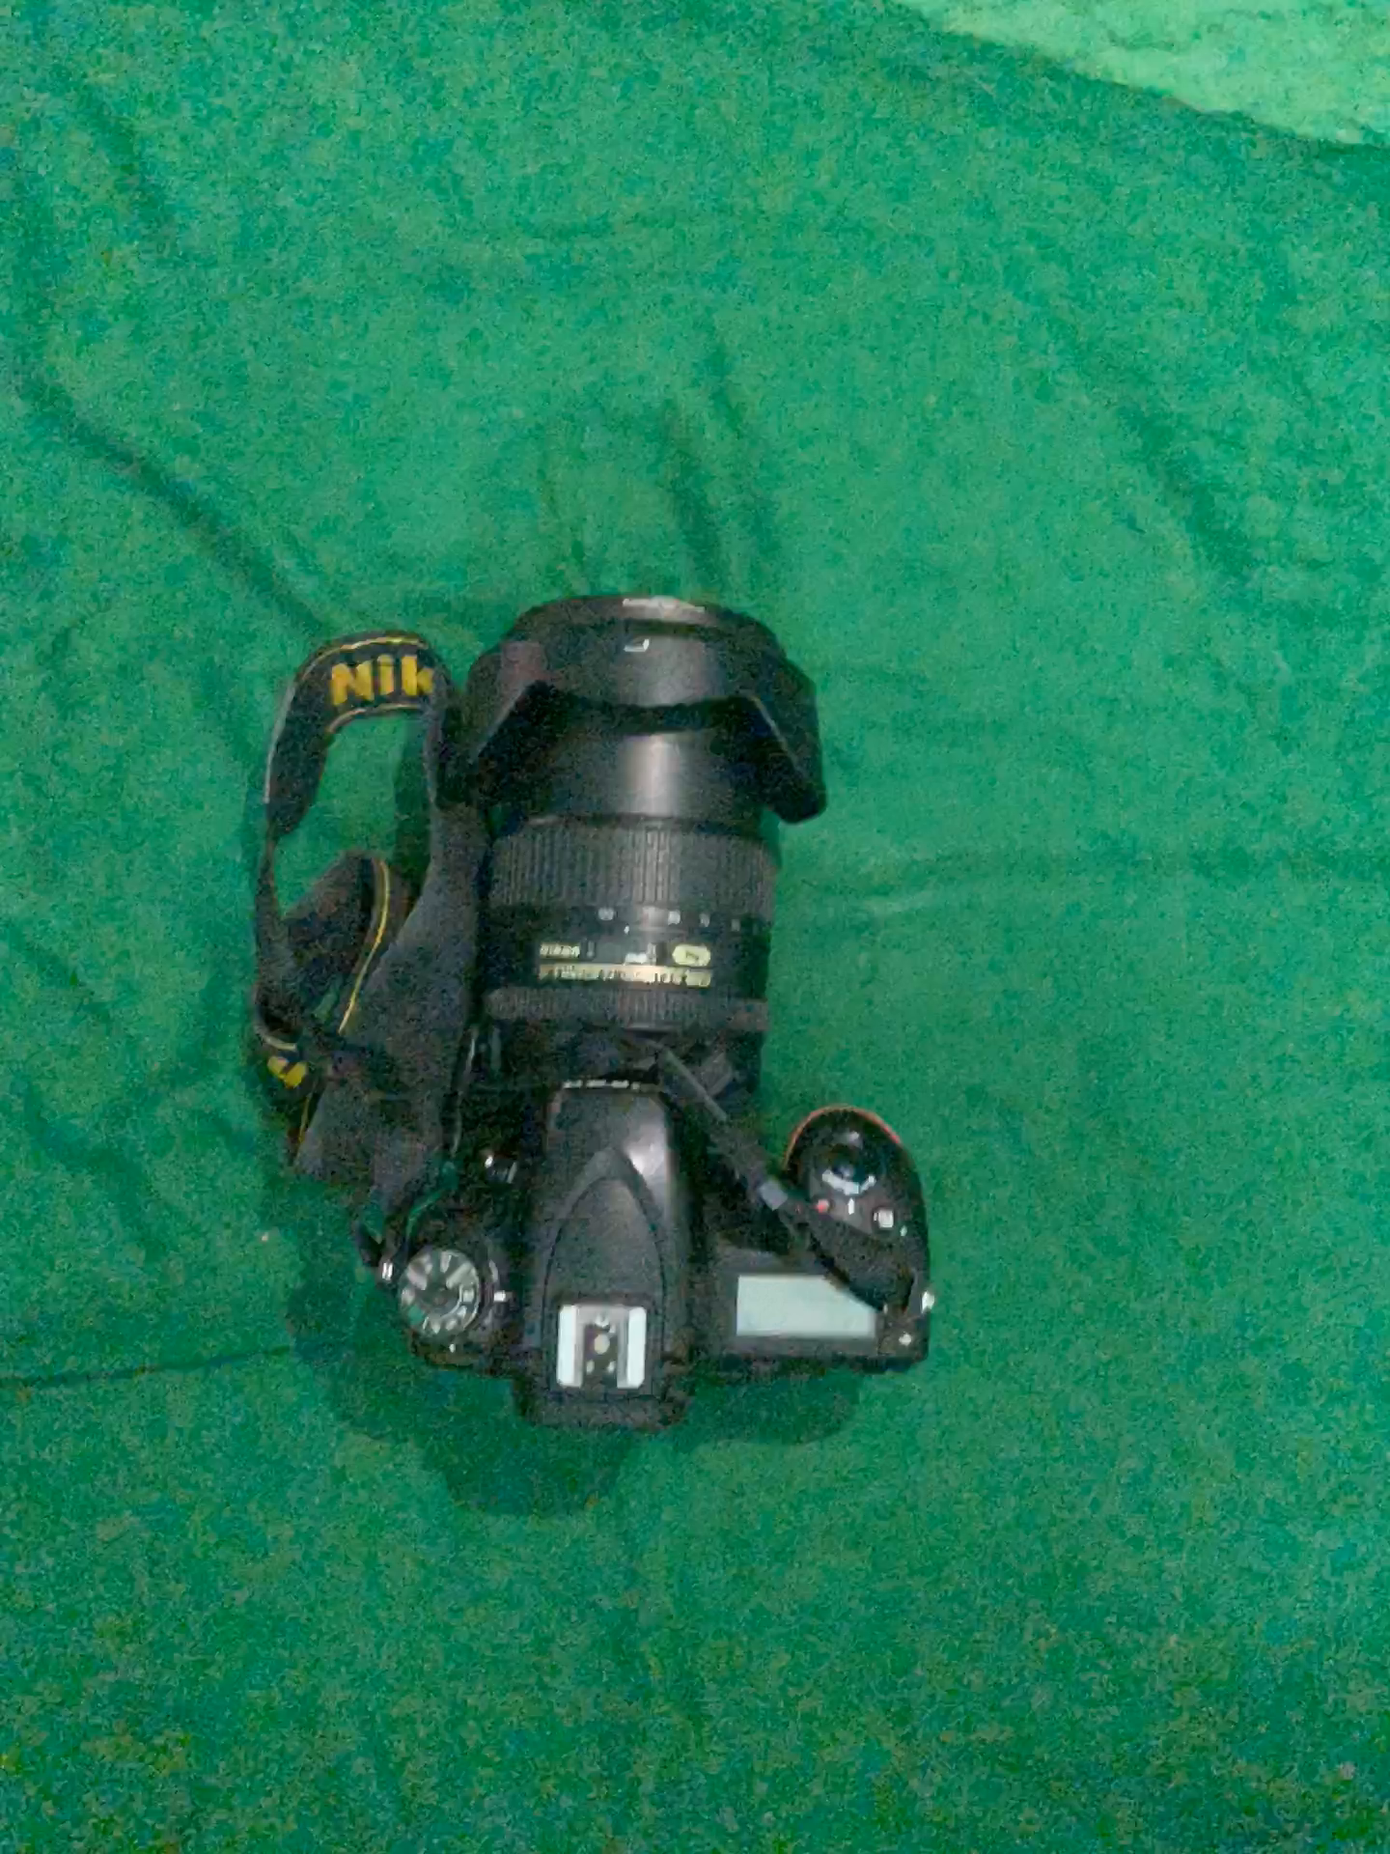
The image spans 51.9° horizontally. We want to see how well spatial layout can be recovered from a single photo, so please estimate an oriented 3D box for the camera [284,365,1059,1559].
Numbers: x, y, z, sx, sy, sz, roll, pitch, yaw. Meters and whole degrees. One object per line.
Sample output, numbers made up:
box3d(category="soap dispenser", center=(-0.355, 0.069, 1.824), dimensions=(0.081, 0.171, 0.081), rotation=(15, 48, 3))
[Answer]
box3d(category="camera", center=(0.001, 0.006, 0.408), dimensions=(0.170, 0.100, 0.290), rotation=(5, 79, 0))
